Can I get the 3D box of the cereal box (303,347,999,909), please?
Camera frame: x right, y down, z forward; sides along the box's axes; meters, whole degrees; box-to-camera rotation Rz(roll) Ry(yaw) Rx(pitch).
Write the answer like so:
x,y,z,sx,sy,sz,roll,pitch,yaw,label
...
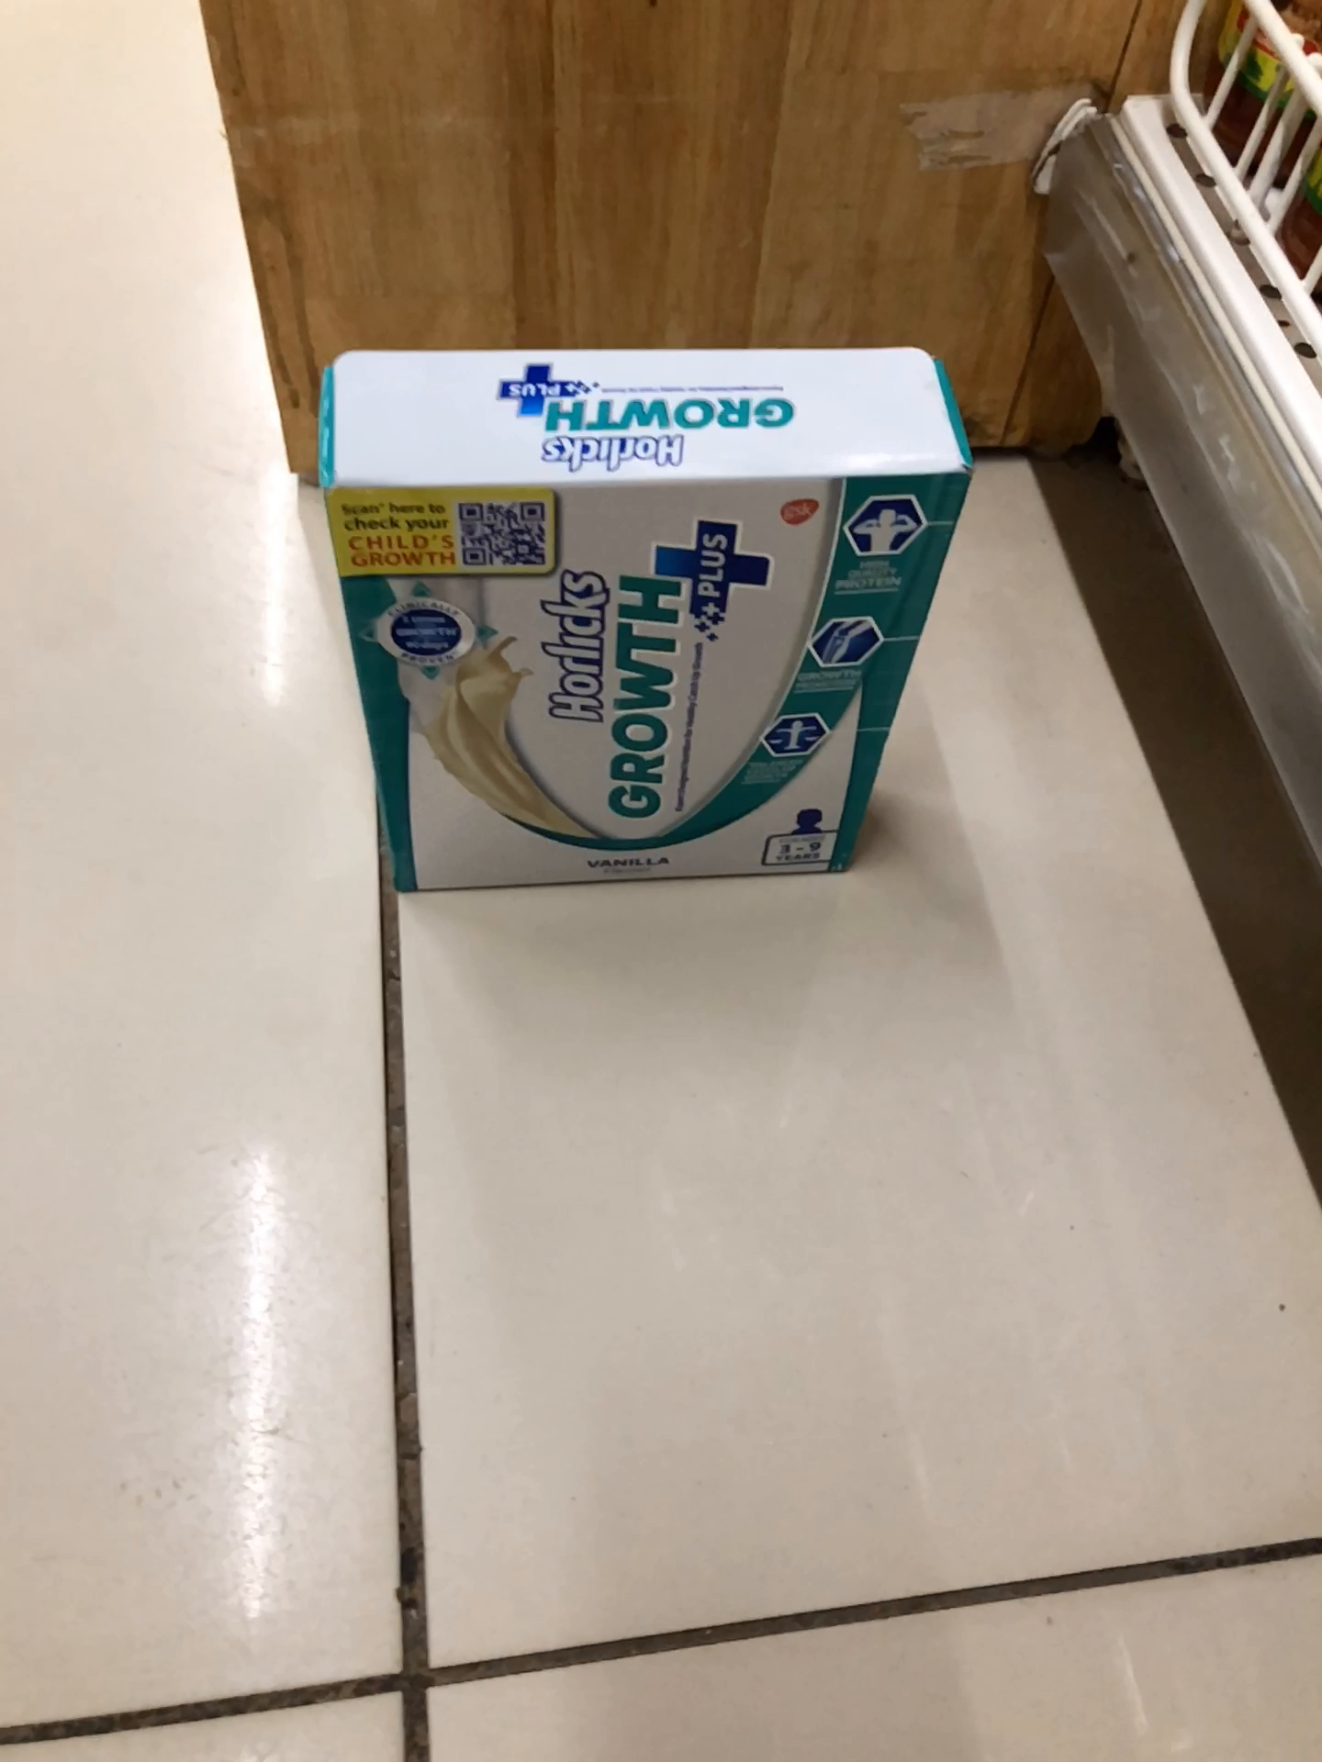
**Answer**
x,y,z,sx,sy,sz,roll,pitch,yaw,label
-0.007,-0.060,0.395,0.150,0.159,0.050,-2,57,-5,cereal box
